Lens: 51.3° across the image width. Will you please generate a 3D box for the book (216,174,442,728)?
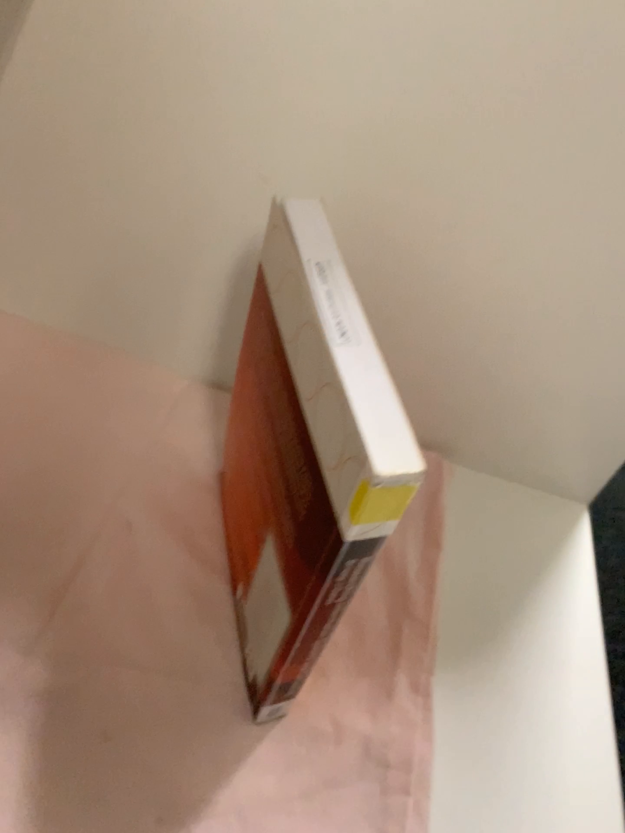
[{"bbox_3d":[-0.016,0.026,0.367,0.026,0.238,0.202,0,47,-18],"label":"book"}]
